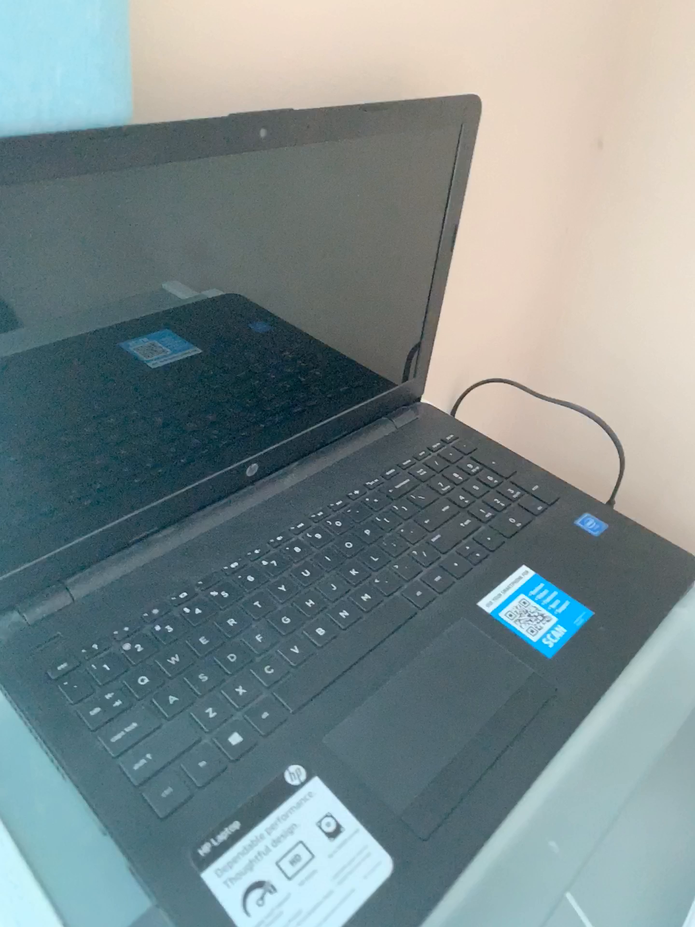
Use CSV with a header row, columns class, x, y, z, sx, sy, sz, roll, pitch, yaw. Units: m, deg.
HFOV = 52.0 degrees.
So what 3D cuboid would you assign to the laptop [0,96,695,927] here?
class,x,y,z,sx,sy,sz,roll,pitch,yaw
laptop,0.031,-0.016,0.344,0.245,0.225,0.360,34,44,30
